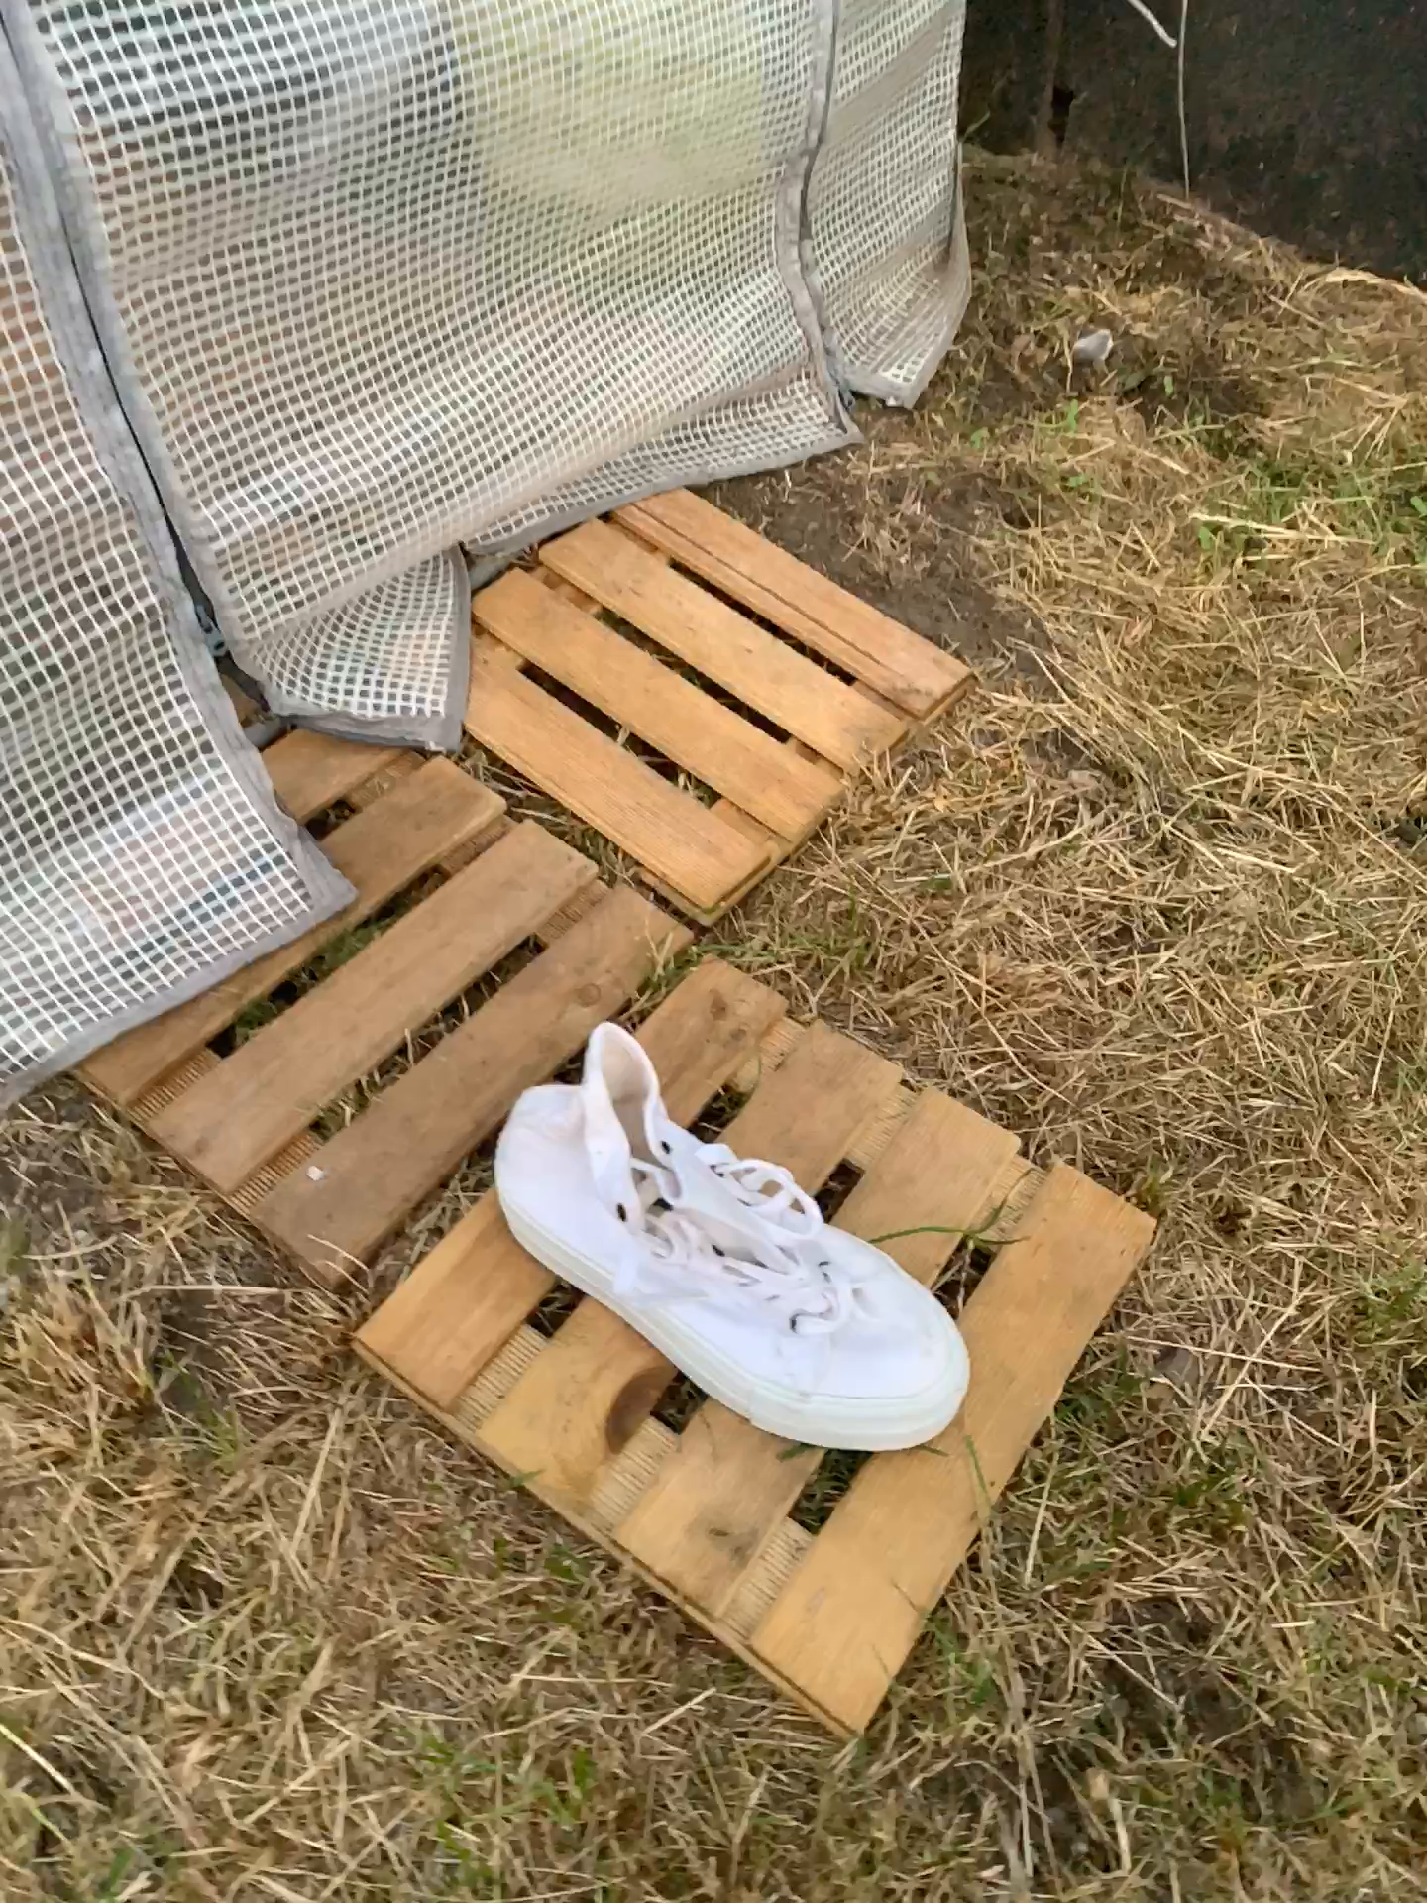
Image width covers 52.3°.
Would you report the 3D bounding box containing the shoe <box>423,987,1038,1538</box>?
[{"bbox_3d":[0.004,0.139,0.682,0.261,0.109,0.101,27,55,23],"label":"shoe"}]
